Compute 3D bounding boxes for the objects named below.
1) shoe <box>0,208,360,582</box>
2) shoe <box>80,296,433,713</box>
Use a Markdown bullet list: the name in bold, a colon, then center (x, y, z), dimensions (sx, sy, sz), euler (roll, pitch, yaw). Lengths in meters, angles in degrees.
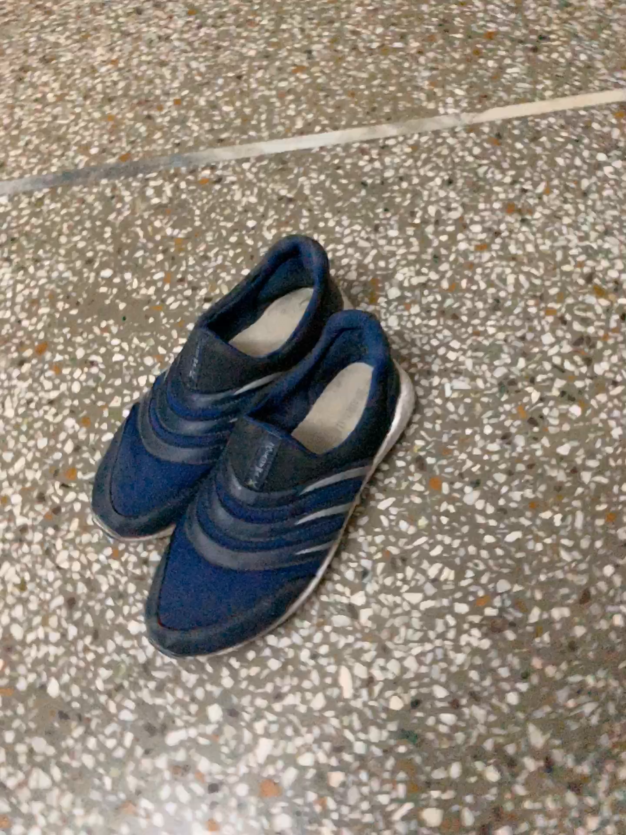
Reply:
- **shoe**: center (-0.092, -0.025, 0.514), dimensions (0.104, 0.080, 0.283), euler (33, 73, 22)
- **shoe**: center (-0.025, 0.059, 0.487), dimensions (0.104, 0.095, 0.280), euler (27, 70, 20)
